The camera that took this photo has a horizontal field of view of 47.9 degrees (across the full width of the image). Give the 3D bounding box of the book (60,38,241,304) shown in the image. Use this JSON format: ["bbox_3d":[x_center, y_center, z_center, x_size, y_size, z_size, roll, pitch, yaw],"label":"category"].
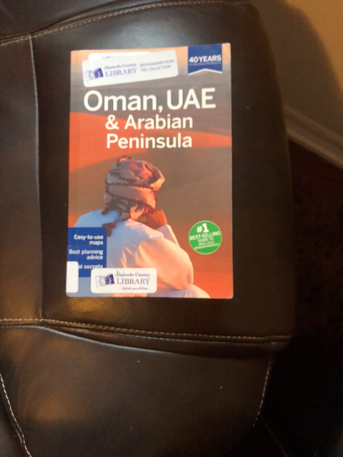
[{"bbox_3d":[-0.017,-0.044,0.311,0.137,0.030,0.203,-1,88,2],"label":"book"}]
